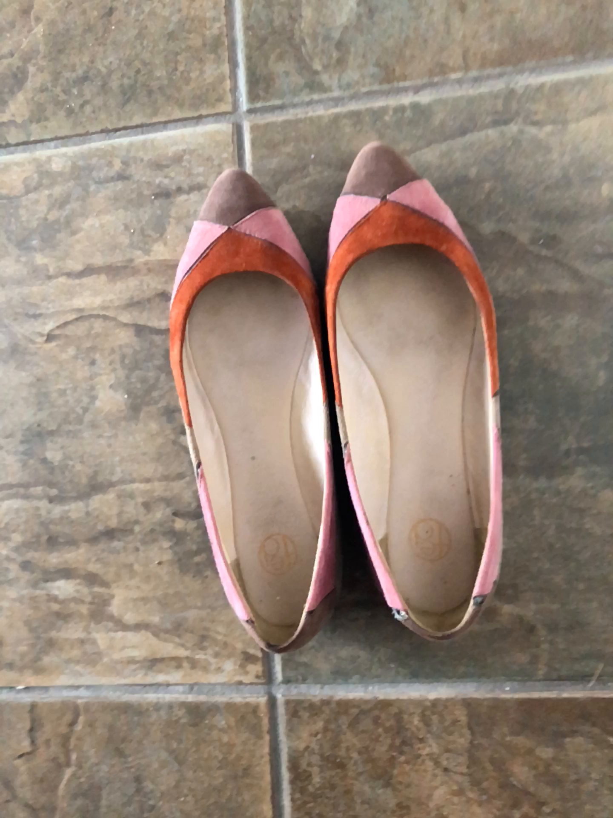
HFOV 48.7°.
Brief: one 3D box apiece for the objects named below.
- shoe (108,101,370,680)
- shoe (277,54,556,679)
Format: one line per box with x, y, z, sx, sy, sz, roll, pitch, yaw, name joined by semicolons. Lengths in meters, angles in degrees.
-0.033;-0.008;0.362;0.090;0.070;0.270;-8;86;10;shoe
0.052;-0.018;0.337;0.090;0.070;0.270;-7;86;10;shoe
